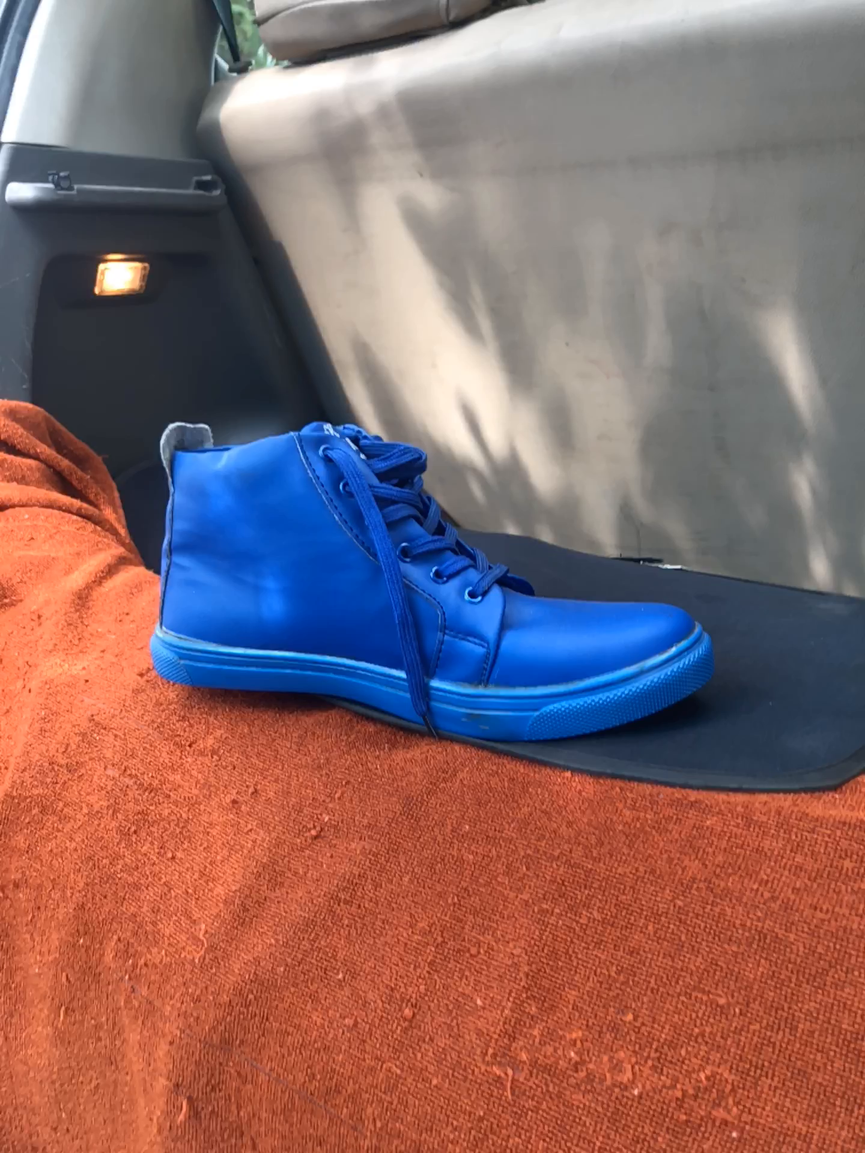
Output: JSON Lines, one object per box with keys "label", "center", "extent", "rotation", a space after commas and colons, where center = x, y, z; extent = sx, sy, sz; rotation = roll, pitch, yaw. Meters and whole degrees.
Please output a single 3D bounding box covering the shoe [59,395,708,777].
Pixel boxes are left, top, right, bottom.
{"label": "shoe", "center": [-0.022, -0.010, 0.472], "extent": [0.290, 0.139, 0.100], "rotation": [5, 20, 20]}
